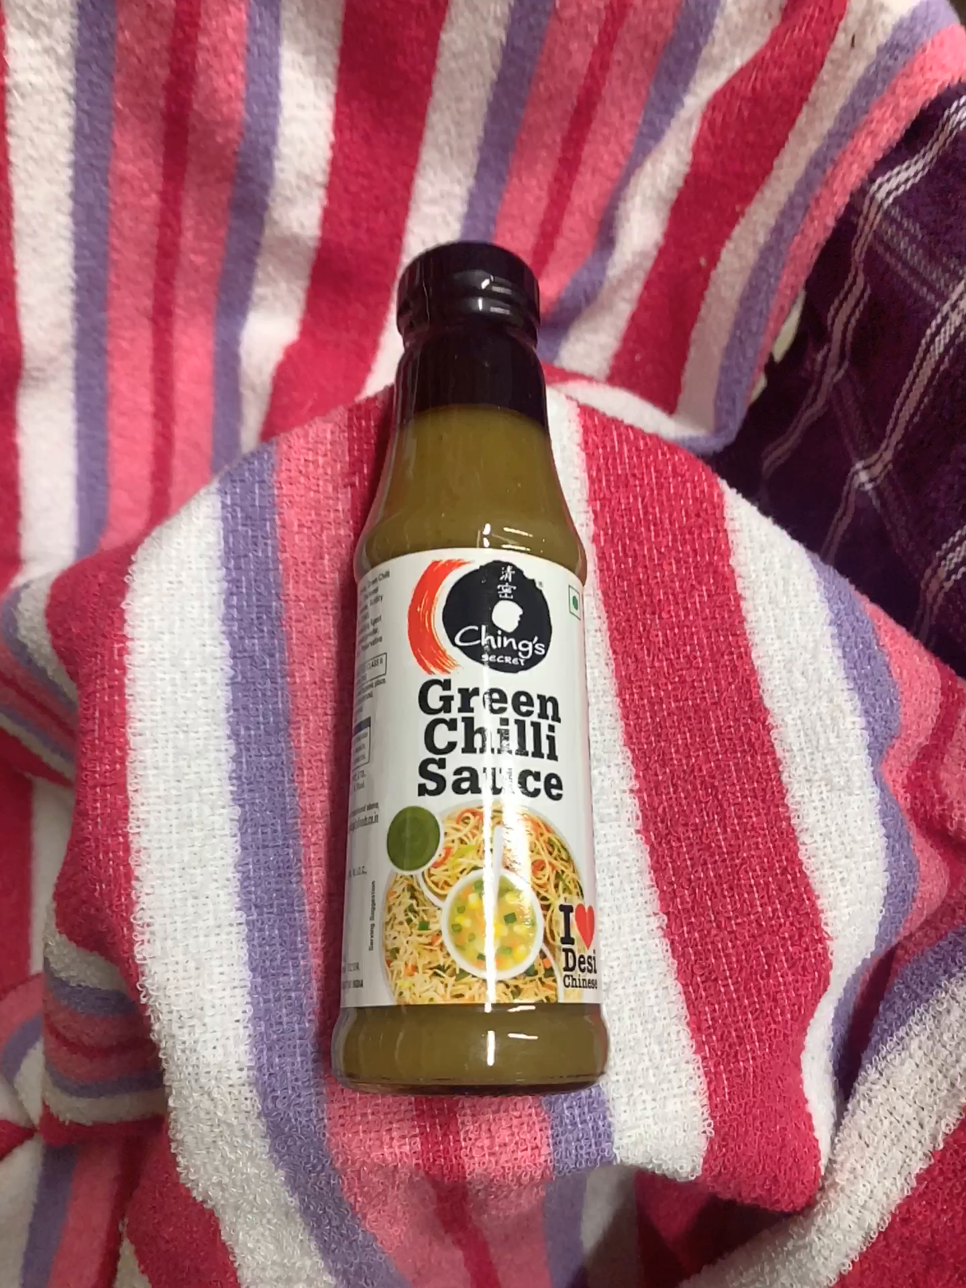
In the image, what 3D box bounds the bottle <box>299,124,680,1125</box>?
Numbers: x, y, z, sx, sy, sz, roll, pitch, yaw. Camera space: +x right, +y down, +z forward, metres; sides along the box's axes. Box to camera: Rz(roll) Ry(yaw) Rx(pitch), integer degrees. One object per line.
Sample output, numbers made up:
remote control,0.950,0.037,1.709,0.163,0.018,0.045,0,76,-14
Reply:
bottle,-0.004,-0.009,0.184,0.050,0.050,0.170,1,69,-7
